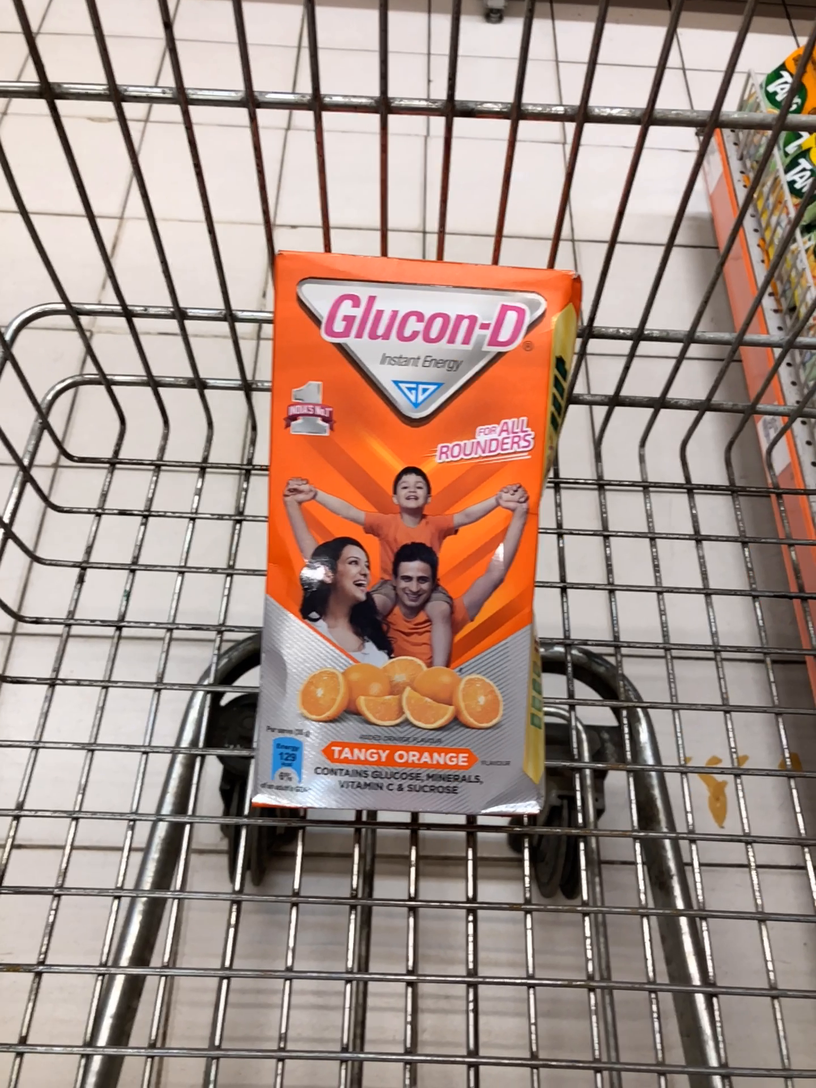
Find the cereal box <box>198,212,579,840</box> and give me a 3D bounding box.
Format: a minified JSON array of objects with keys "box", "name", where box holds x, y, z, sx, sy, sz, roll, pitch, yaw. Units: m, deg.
[{"box":[-0.007,-0.007,0.361,0.120,0.100,0.210,3,90,-1],"name":"cereal box"}]
